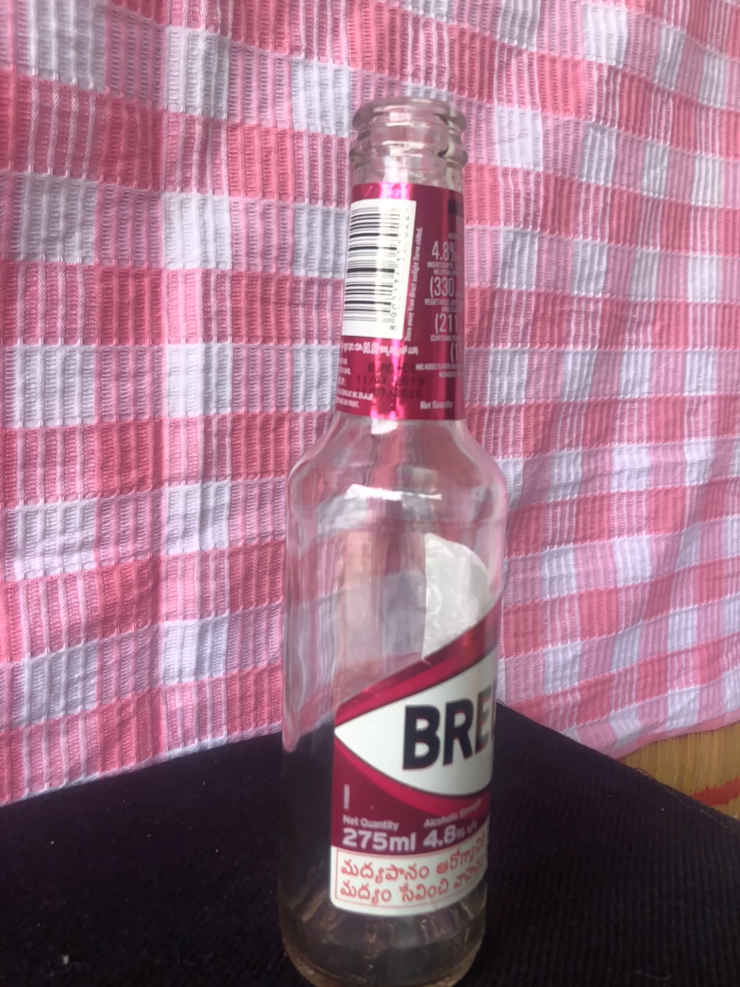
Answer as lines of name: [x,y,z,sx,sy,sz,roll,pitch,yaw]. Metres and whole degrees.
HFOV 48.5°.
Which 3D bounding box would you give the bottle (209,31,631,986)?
bottle: [0.011,0.020,0.189,0.060,0.209,0.060,4,10,-1]
